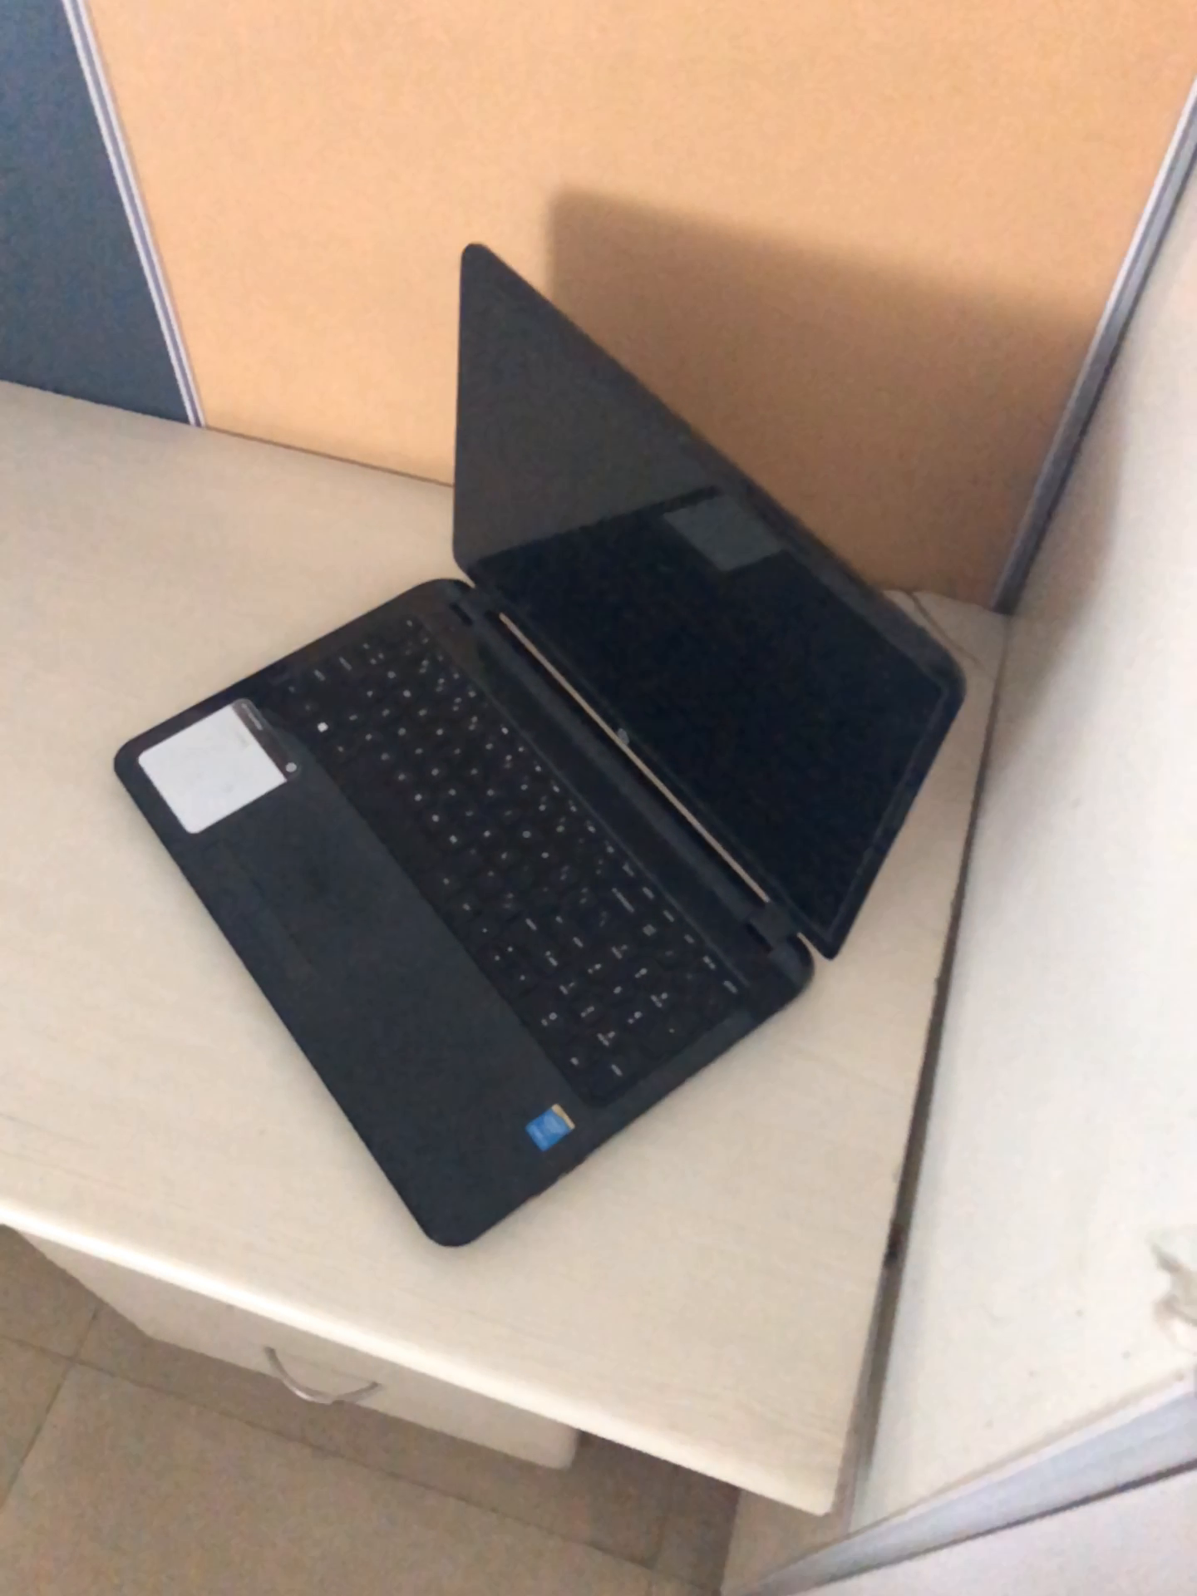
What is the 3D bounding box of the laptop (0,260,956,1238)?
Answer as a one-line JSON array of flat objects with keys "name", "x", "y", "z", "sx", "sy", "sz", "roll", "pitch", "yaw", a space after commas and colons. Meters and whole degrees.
[{"name": "laptop", "x": -0.069, "y": -0.032, "z": 0.666, "sx": 0.265, "sy": 0.226, "sz": 0.352, "roll": -32, "pitch": 63, "yaw": -19}]
